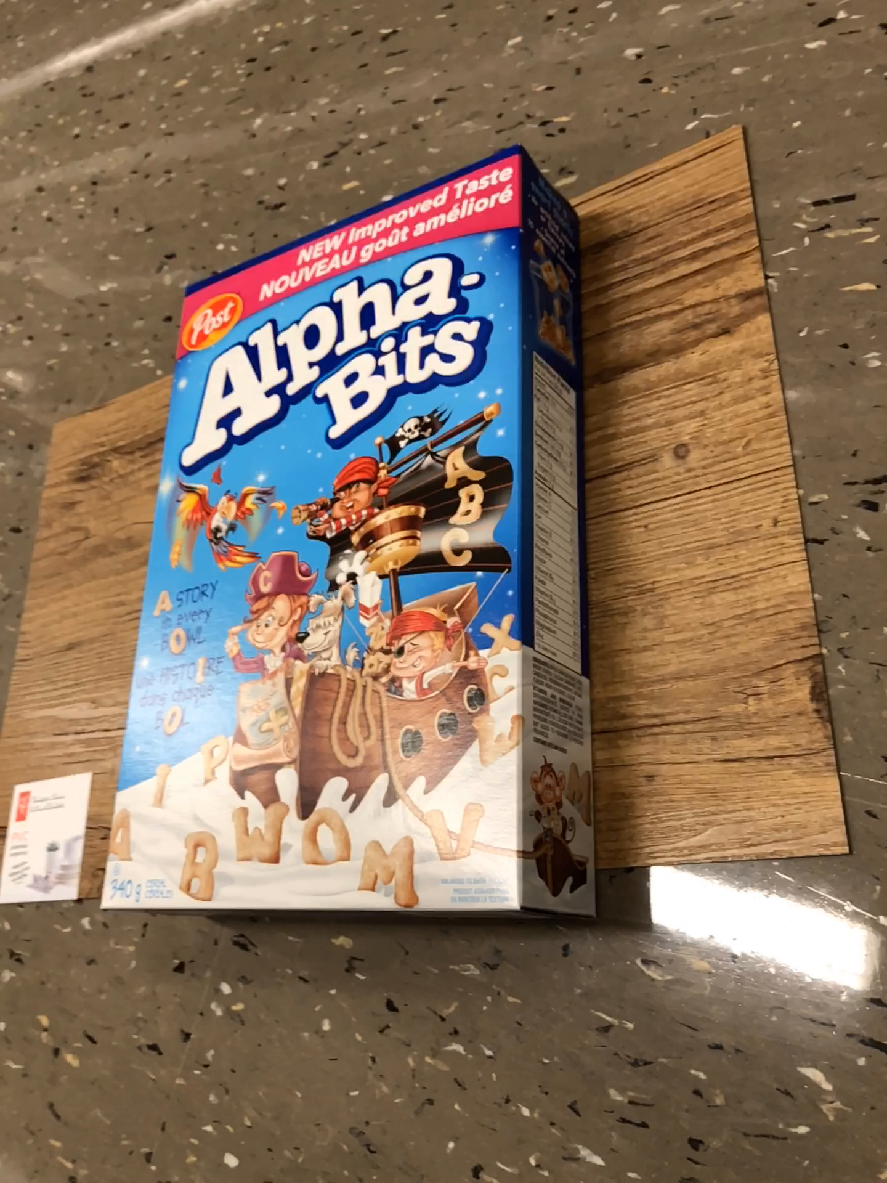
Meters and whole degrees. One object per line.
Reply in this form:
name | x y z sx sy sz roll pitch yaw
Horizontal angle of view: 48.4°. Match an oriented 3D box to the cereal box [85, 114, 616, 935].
cereal box | -0.037 -0.022 0.418 0.201 0.060 0.310 -11 66 31
